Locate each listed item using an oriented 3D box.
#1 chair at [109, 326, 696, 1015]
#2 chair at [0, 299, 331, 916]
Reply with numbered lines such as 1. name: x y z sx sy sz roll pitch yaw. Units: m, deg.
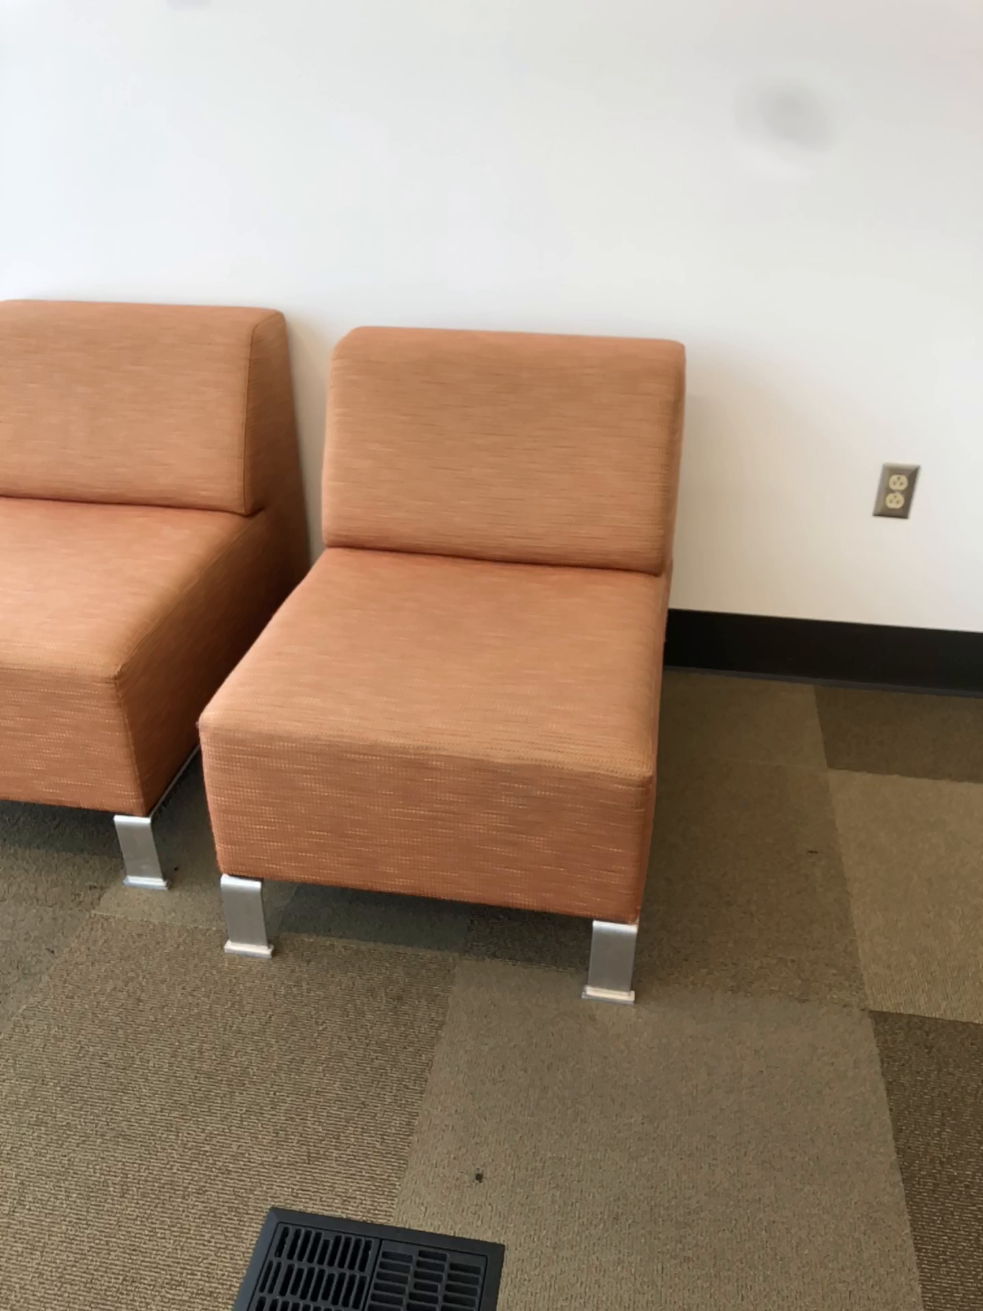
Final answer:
1. chair: -0.044 -0.061 1.844 0.694 0.759 0.927 5 29 9
2. chair: -0.839 -0.168 2.091 0.764 0.809 0.937 4 29 8
